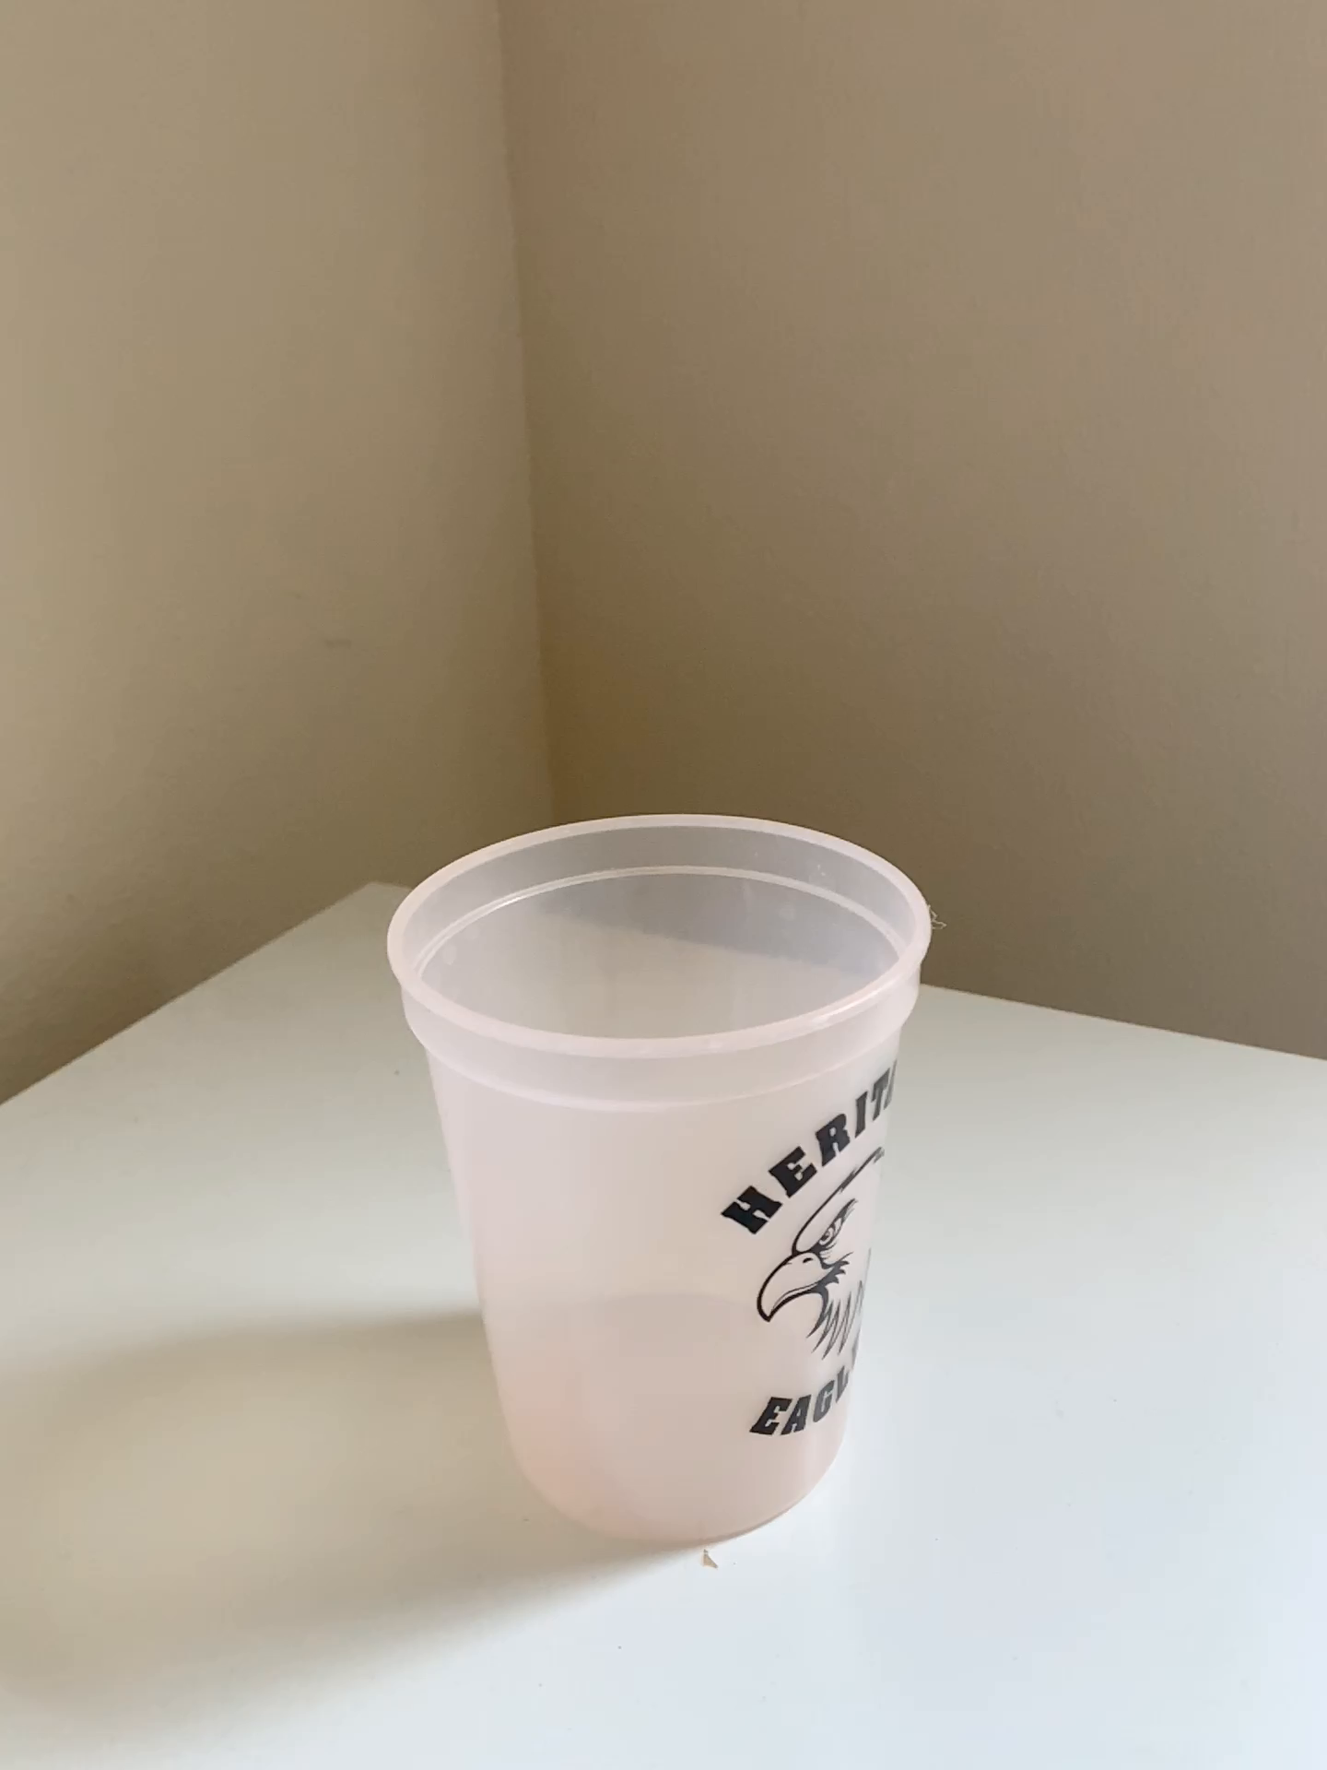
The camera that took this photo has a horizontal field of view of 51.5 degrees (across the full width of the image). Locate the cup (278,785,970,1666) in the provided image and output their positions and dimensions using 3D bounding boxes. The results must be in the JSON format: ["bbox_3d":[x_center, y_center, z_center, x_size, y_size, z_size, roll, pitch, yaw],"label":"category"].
[{"bbox_3d":[-0.003,0.053,0.258,0.080,0.110,0.090,16,29,36],"label":"cup"}]
